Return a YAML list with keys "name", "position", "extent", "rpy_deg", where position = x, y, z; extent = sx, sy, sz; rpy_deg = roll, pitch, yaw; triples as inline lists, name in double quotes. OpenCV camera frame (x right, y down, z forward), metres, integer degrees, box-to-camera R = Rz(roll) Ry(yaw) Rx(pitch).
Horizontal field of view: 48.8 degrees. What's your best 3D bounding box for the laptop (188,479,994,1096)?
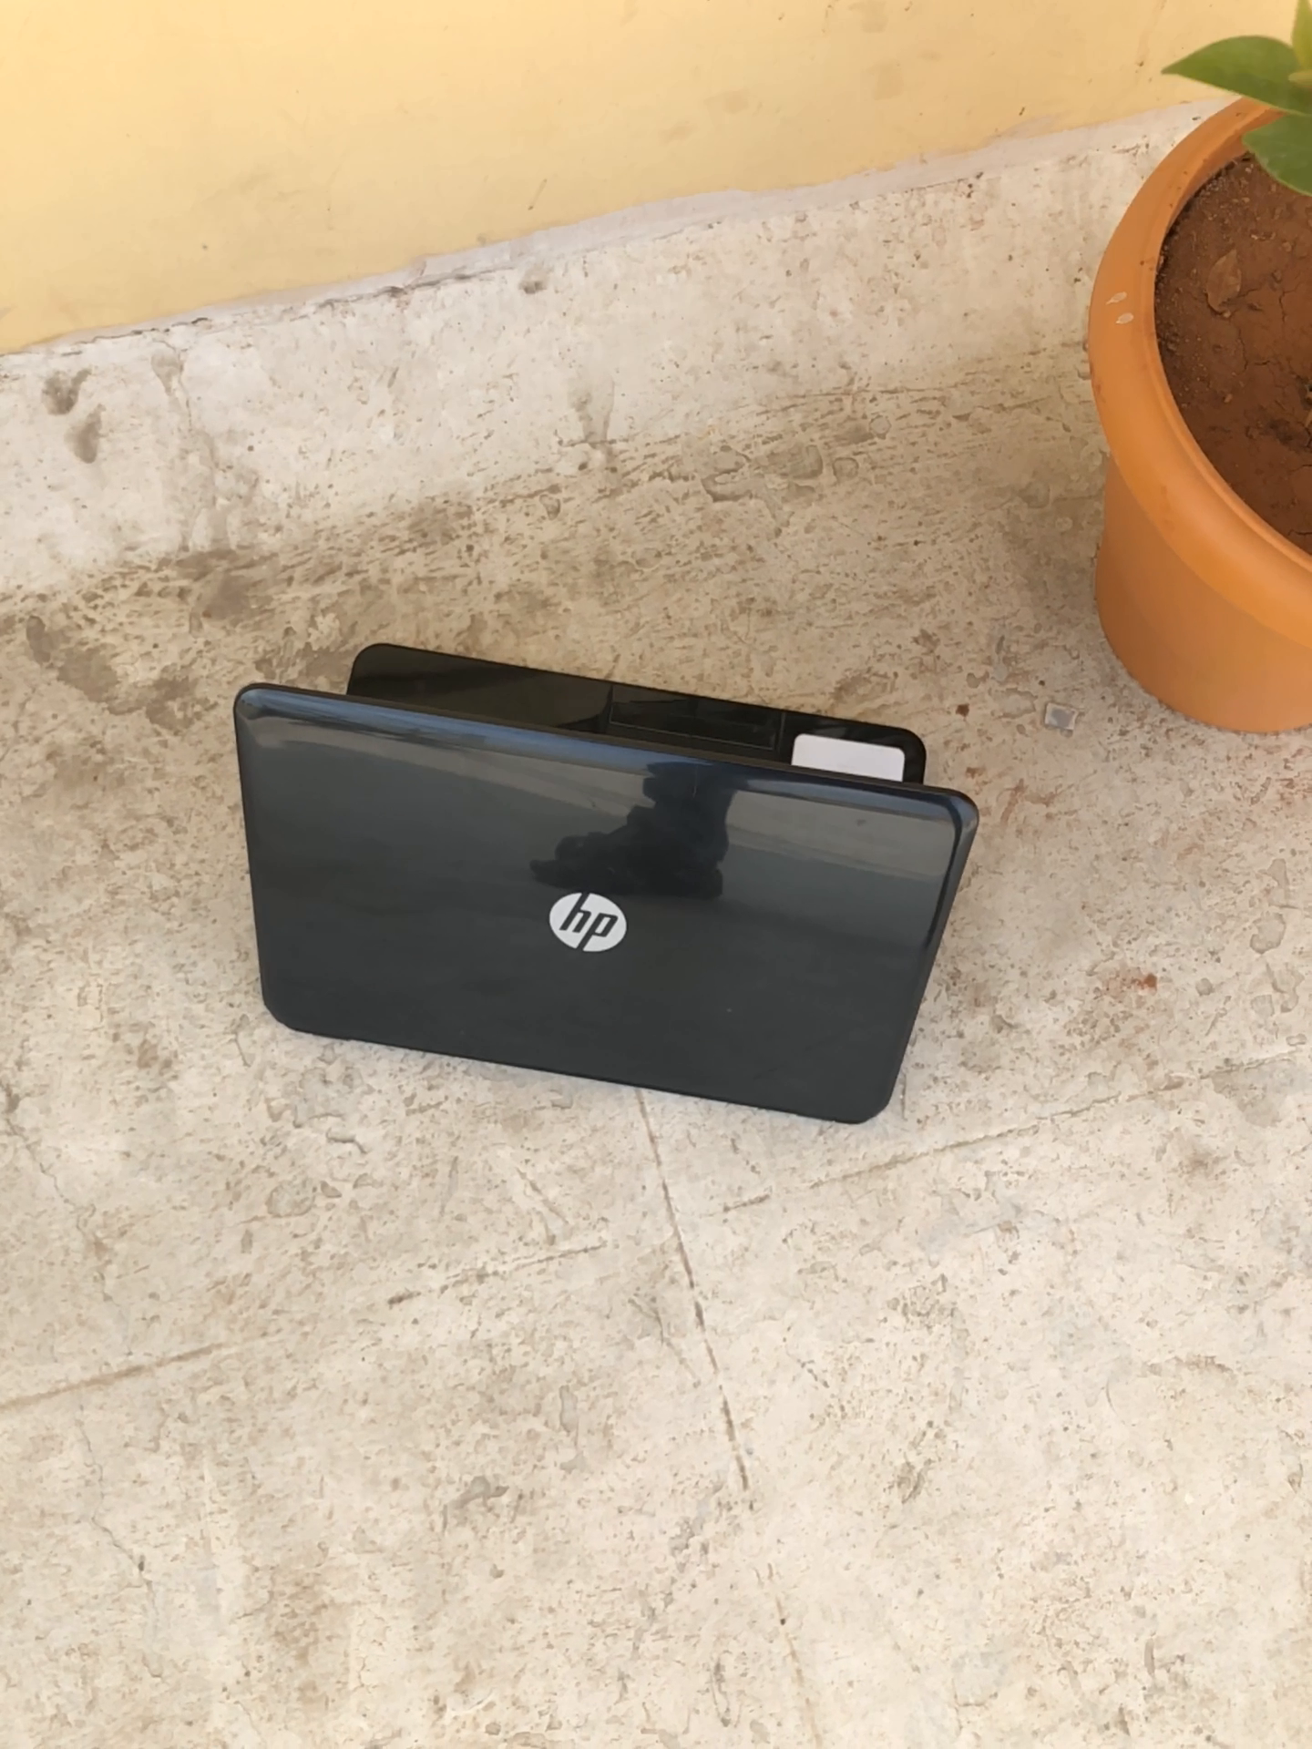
- name: "laptop"
  position: [-0.027, -0.032, 0.777]
  extent: [0.344, 0.190, 0.221]
  rpy_deg: [9, 77, 2]
